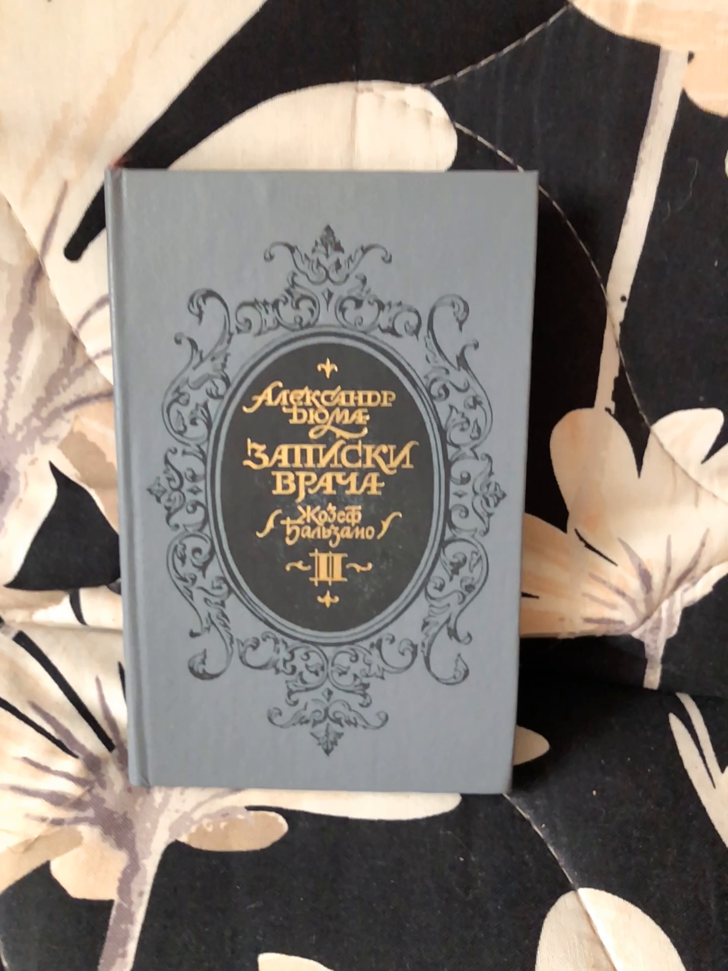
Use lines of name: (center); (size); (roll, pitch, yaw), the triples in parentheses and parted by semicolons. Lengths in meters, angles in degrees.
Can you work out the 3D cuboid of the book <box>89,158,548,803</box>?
book: (-0.016, 0.003, 0.280); (0.140, 0.030, 0.210); (1, 100, 0)
